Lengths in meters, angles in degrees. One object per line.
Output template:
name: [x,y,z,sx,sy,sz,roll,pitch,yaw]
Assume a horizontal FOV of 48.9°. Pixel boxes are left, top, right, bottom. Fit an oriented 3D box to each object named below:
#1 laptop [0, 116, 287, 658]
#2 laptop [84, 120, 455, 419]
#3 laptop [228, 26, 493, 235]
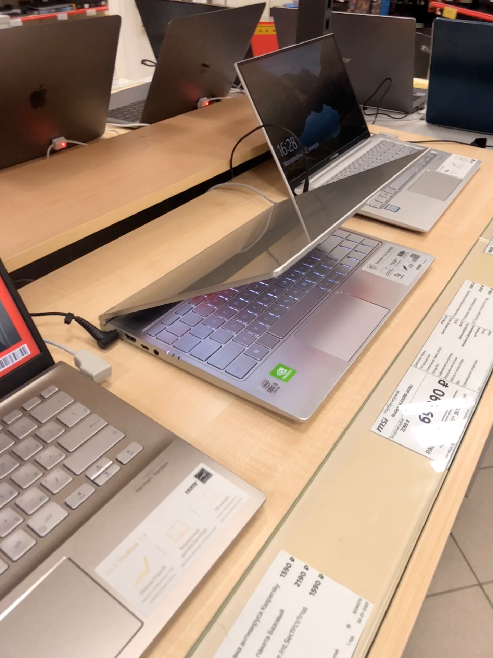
laptop: [-0.200,0.048,0.264,0.314,0.169,0.311,24,40,24]
laptop: [0.043,-0.093,0.543,0.216,0.113,0.322,23,41,25]
laptop: [0.187,-0.326,0.828,0.301,0.154,0.327,24,42,22]
